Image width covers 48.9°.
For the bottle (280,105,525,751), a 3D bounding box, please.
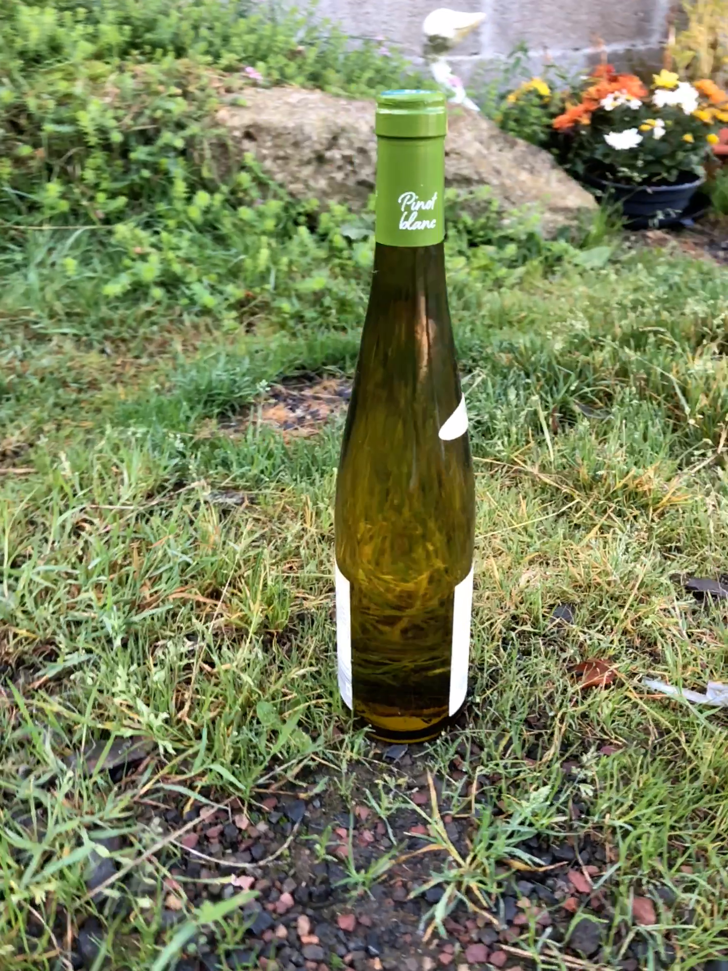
[{"bbox_3d":[0.019,-0.014,0.411,0.090,0.318,0.091,-2,30,1],"label":"bottle"}]
